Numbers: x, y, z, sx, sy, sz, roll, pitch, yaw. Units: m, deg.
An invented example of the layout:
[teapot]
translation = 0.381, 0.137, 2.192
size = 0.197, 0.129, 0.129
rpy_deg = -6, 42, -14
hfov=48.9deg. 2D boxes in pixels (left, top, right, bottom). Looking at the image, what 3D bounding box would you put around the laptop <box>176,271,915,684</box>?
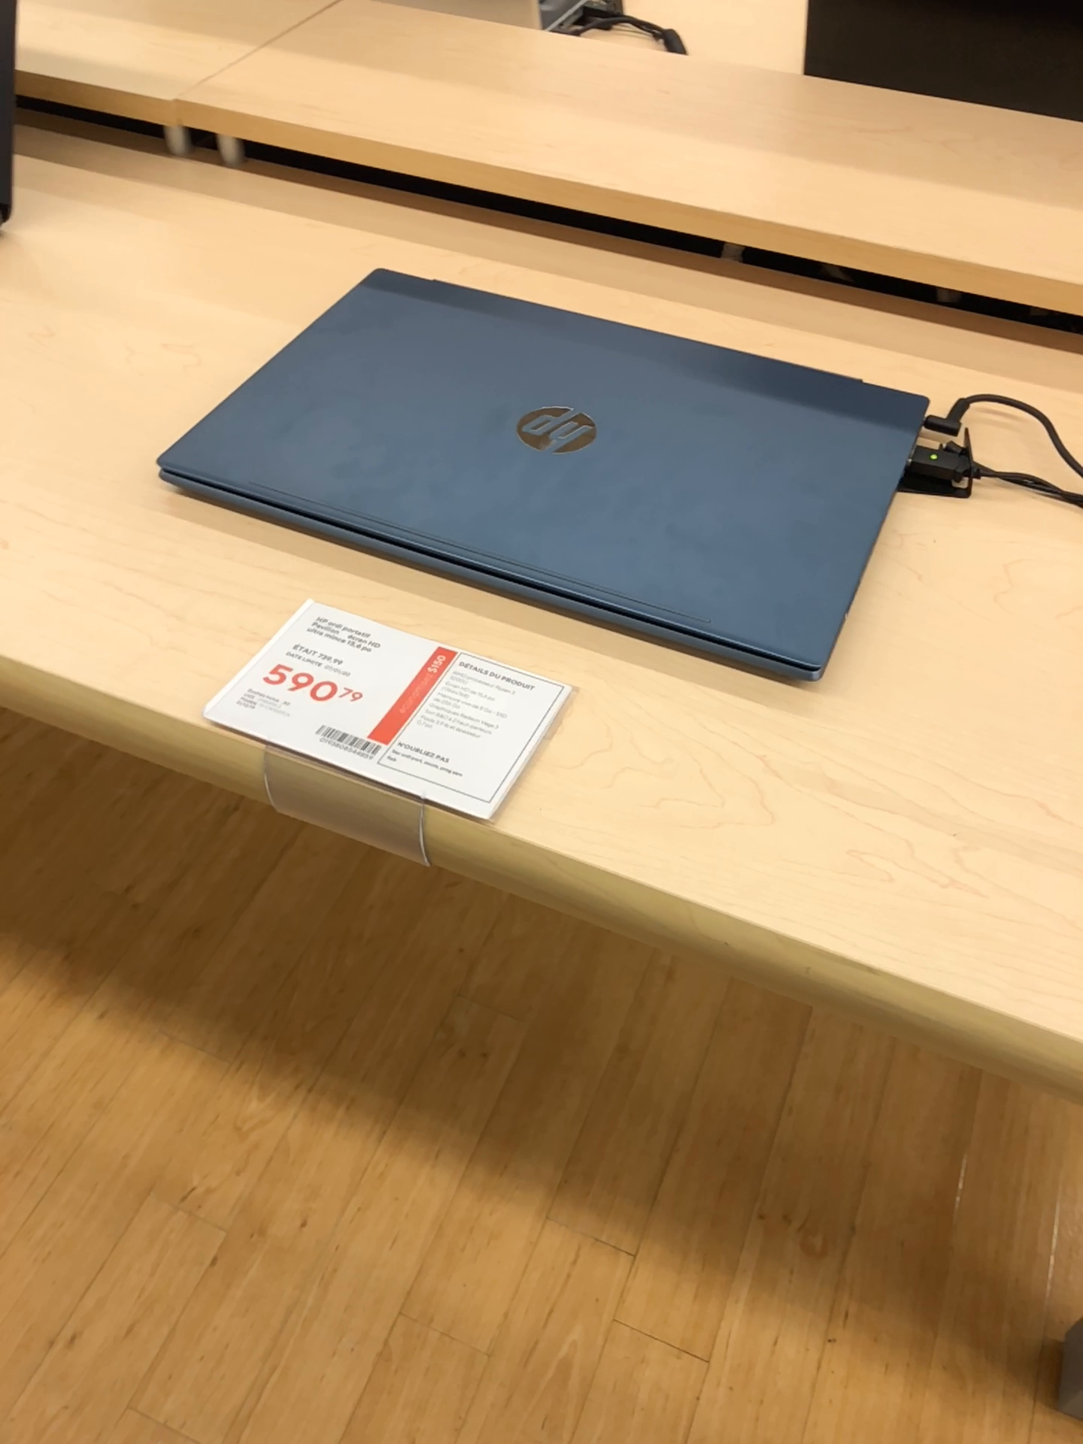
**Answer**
[laptop]
translation = 0.006, -0.154, 0.656
size = 0.353, 0.012, 0.220
rpy_deg = 19, 53, 17
